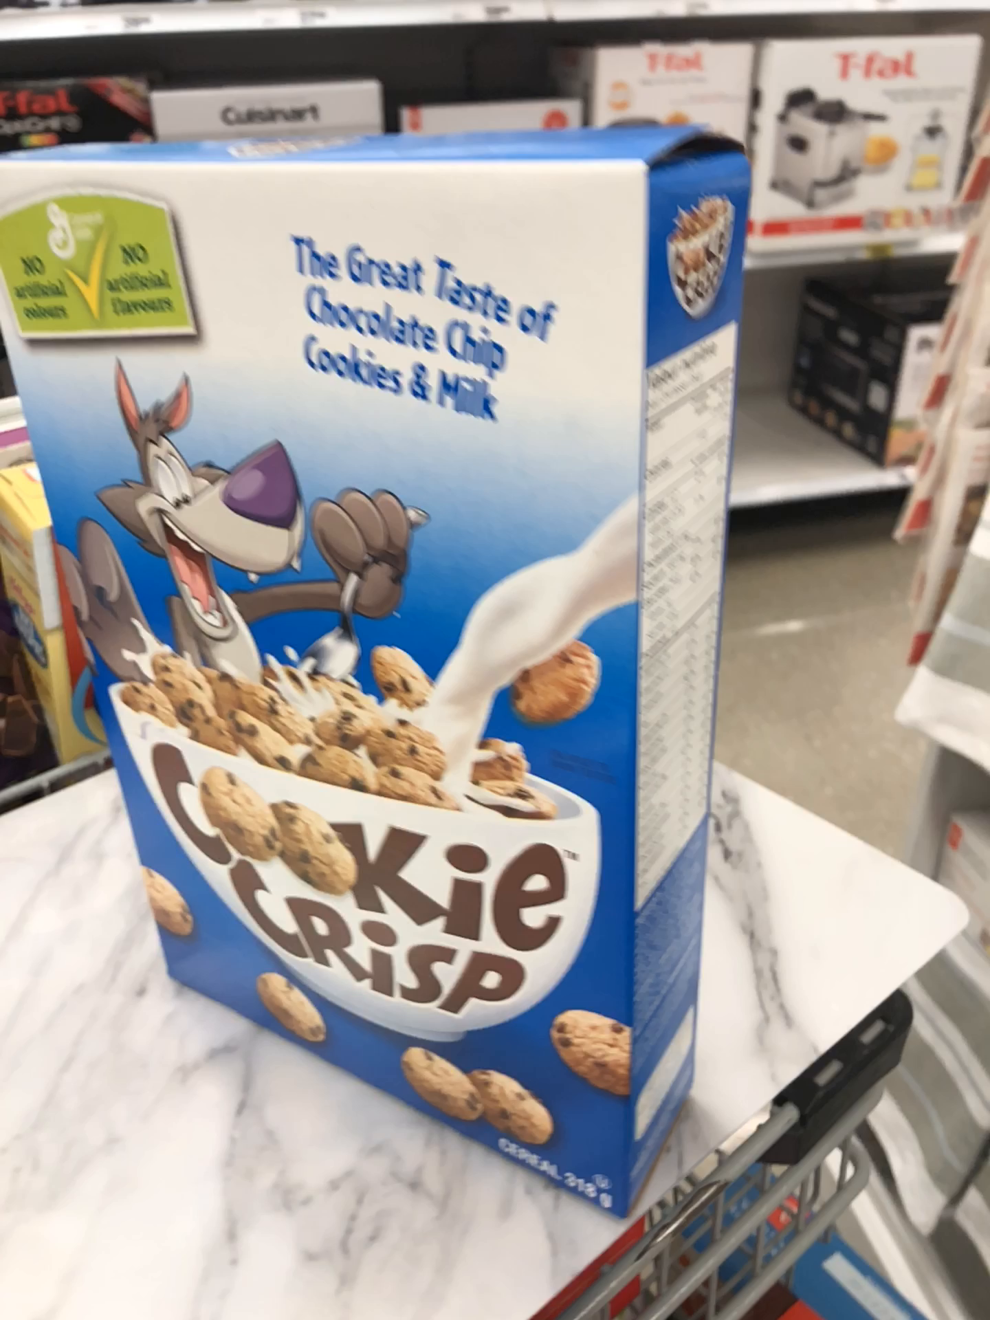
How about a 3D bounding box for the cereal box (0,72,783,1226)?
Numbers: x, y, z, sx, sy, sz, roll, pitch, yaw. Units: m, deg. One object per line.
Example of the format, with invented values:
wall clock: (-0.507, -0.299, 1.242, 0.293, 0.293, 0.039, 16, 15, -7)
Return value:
cereal box: (-0.044, -0.003, 0.300, 0.210, 0.269, 0.050, 15, 32, 29)
